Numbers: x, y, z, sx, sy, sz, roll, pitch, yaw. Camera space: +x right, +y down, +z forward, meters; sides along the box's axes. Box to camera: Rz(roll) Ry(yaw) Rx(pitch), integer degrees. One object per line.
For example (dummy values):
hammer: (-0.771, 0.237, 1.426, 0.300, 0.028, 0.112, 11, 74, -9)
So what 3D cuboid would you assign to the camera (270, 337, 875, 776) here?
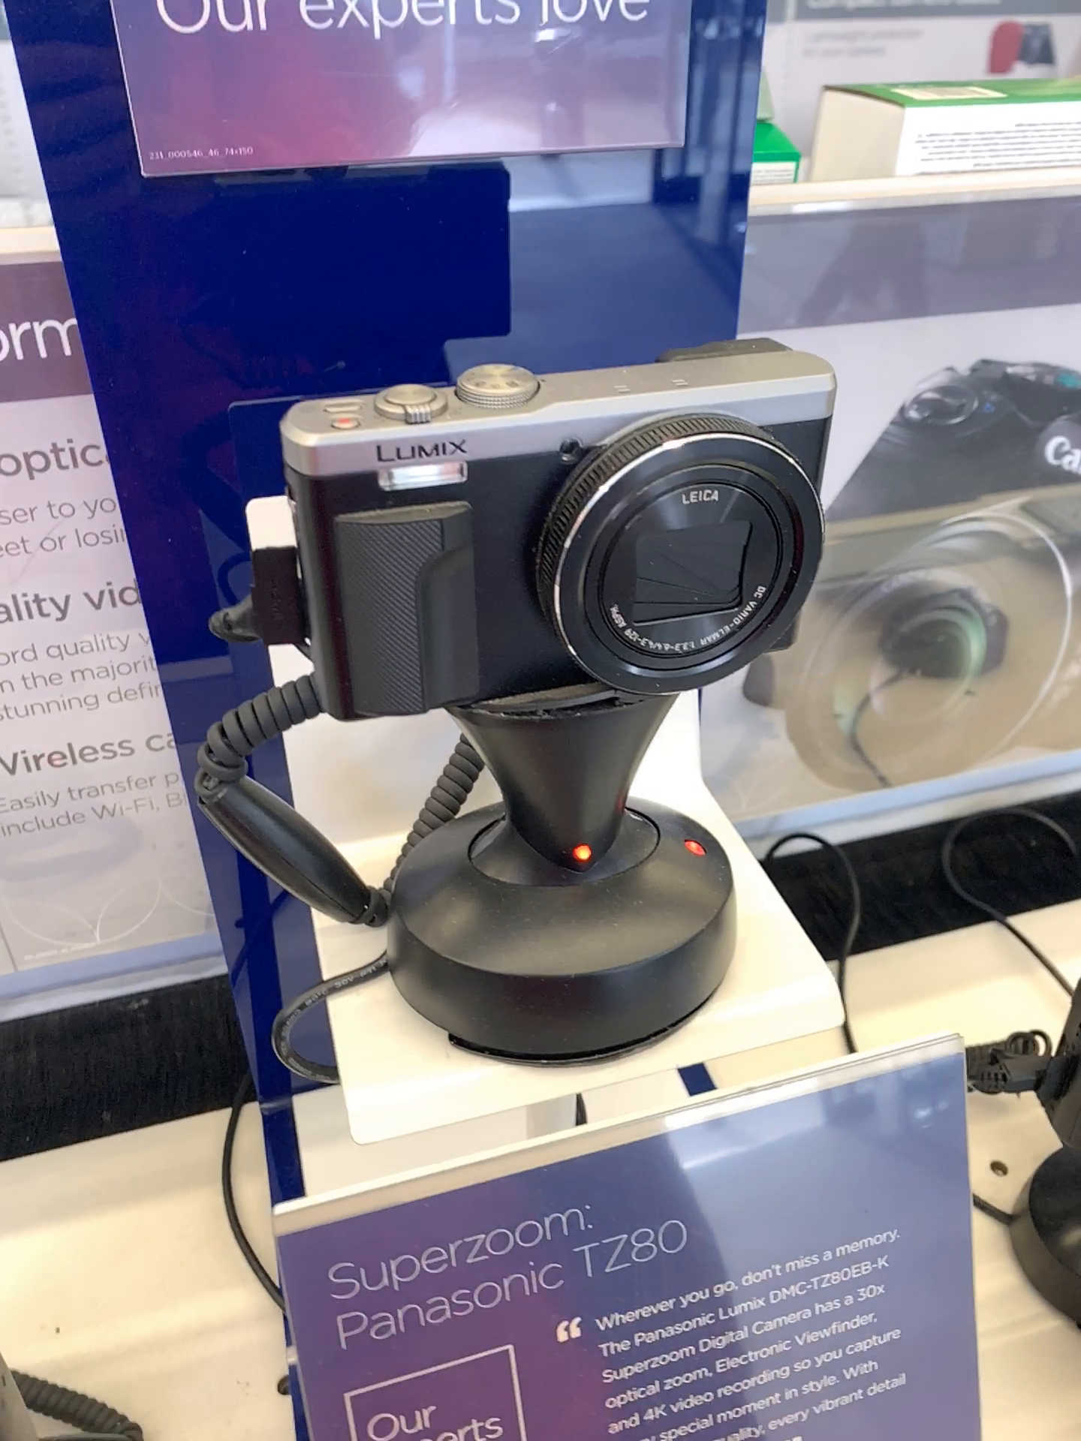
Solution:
camera: (0.006, -0.035, 0.230, 0.110, 0.069, 0.030, -10, 35, -16)
